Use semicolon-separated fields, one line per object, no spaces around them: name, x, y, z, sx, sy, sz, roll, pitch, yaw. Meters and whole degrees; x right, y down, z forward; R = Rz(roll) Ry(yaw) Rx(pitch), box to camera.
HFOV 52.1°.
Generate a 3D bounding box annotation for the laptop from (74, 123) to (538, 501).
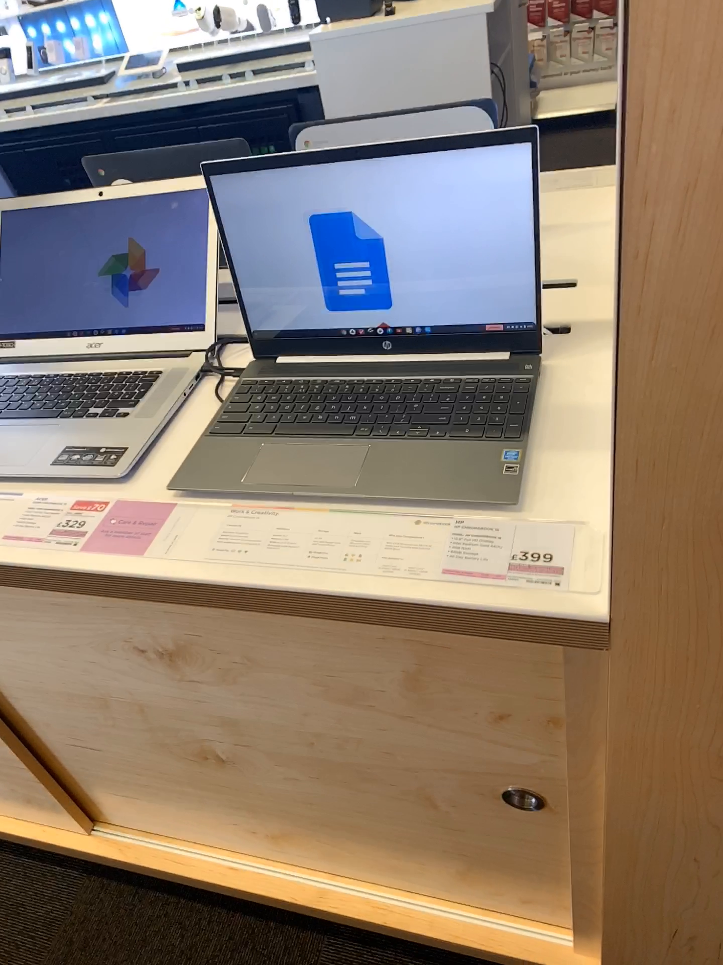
laptop;-0.021;-0.166;0.727;0.351;0.228;0.265;2;42;19
